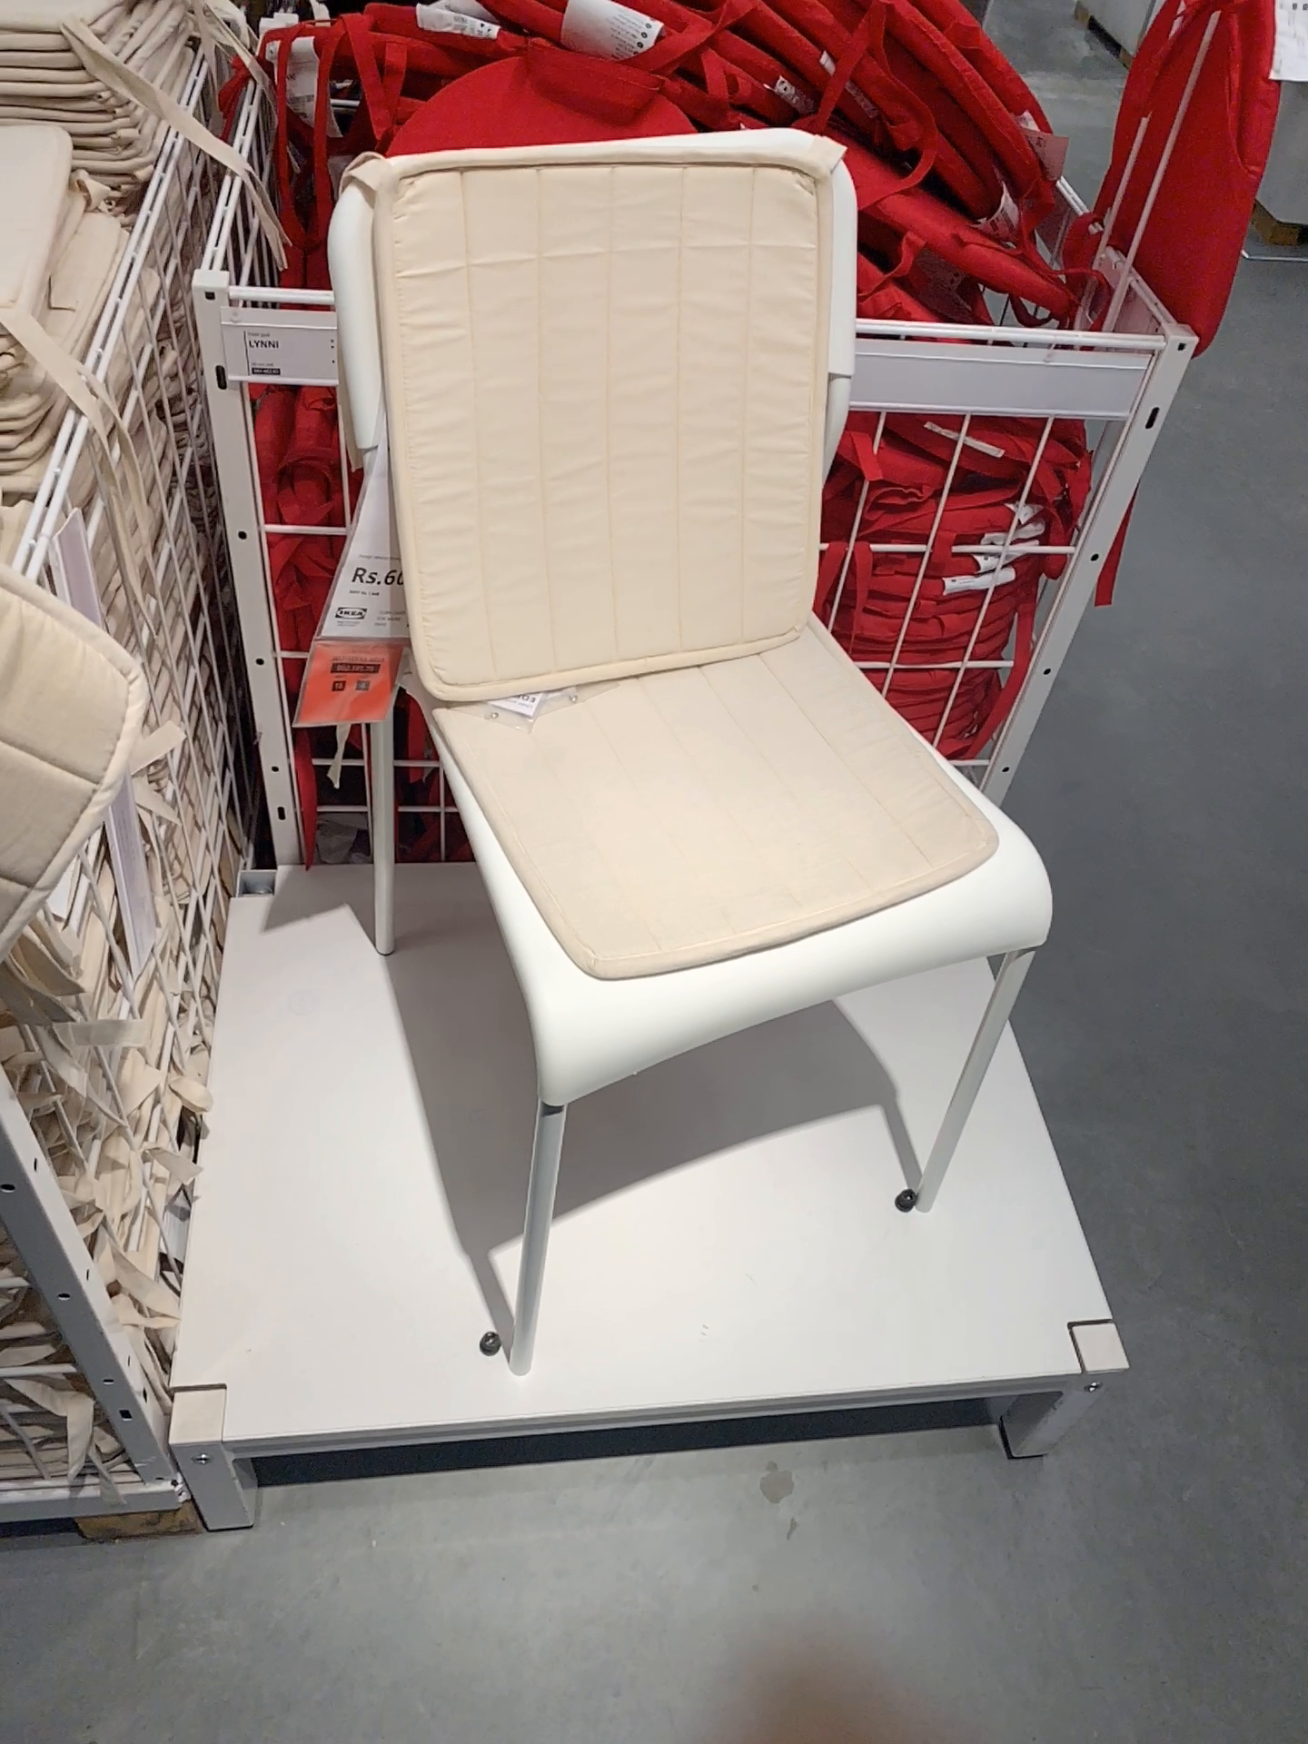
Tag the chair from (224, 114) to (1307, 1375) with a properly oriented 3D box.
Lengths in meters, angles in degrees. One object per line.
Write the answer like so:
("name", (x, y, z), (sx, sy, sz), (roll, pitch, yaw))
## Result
("chair", (0.010, -0.074, 0.972), (0.430, 0.698, 0.481), (-16, 52, -21))
